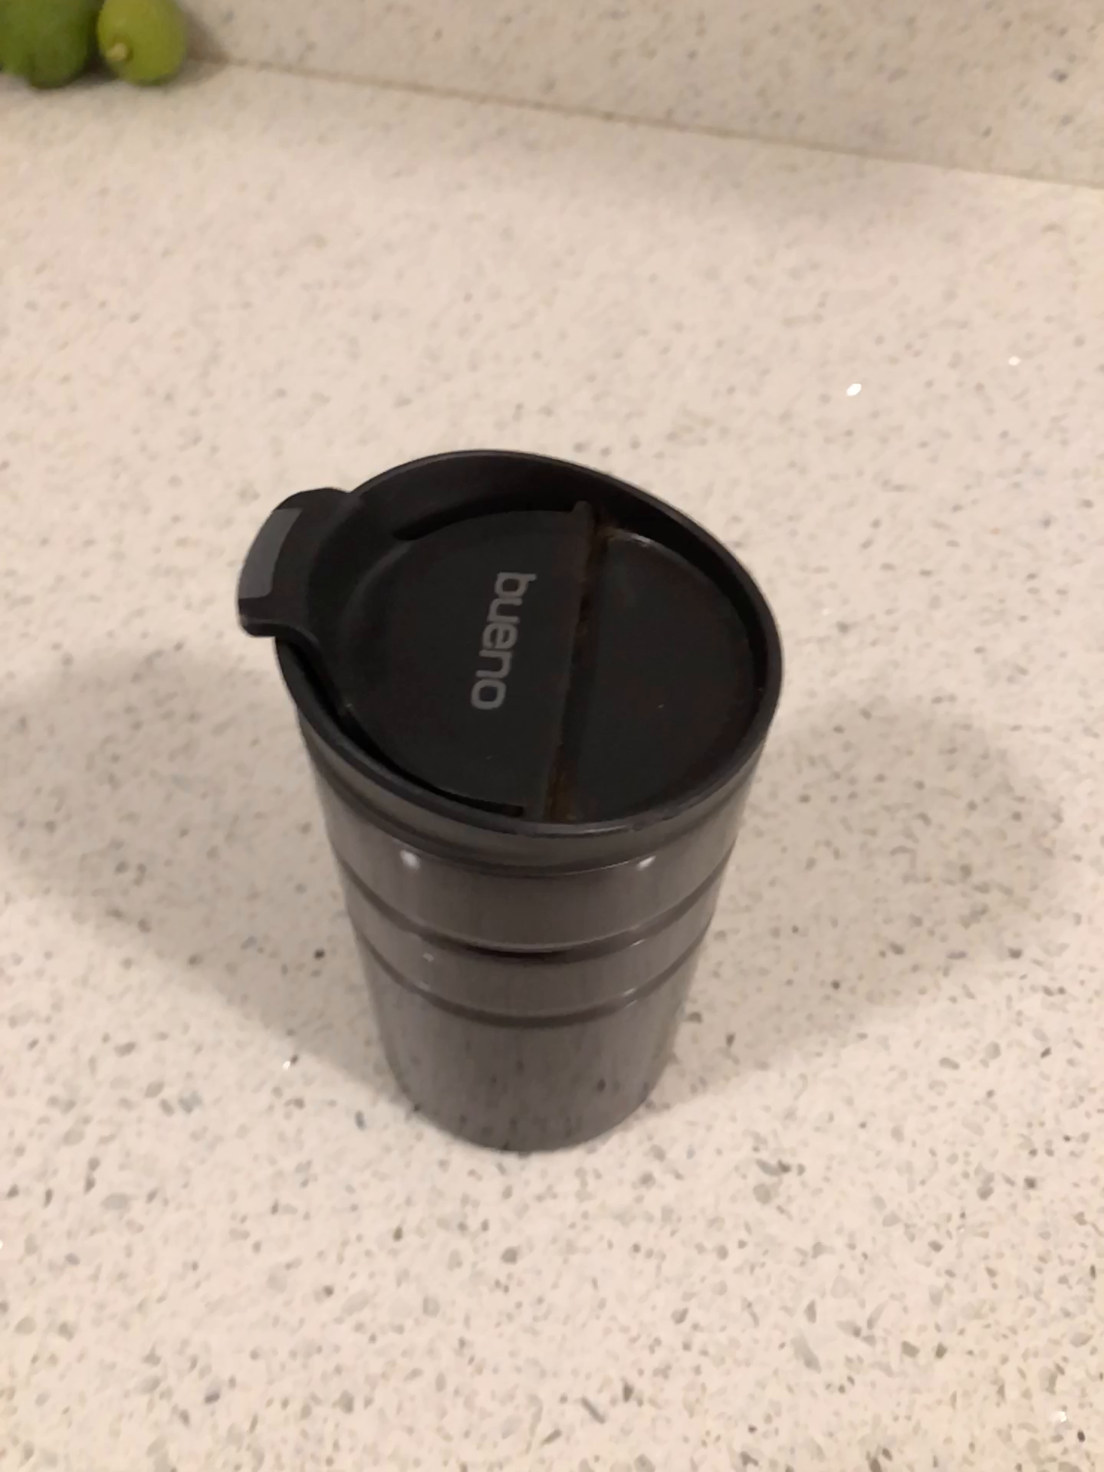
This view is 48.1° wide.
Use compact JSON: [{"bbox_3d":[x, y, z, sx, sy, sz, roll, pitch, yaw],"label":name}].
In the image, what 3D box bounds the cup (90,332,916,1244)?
[{"bbox_3d":[-0.006,0.012,0.225,0.085,0.116,0.086,0,51,-1],"label":"cup"}]
